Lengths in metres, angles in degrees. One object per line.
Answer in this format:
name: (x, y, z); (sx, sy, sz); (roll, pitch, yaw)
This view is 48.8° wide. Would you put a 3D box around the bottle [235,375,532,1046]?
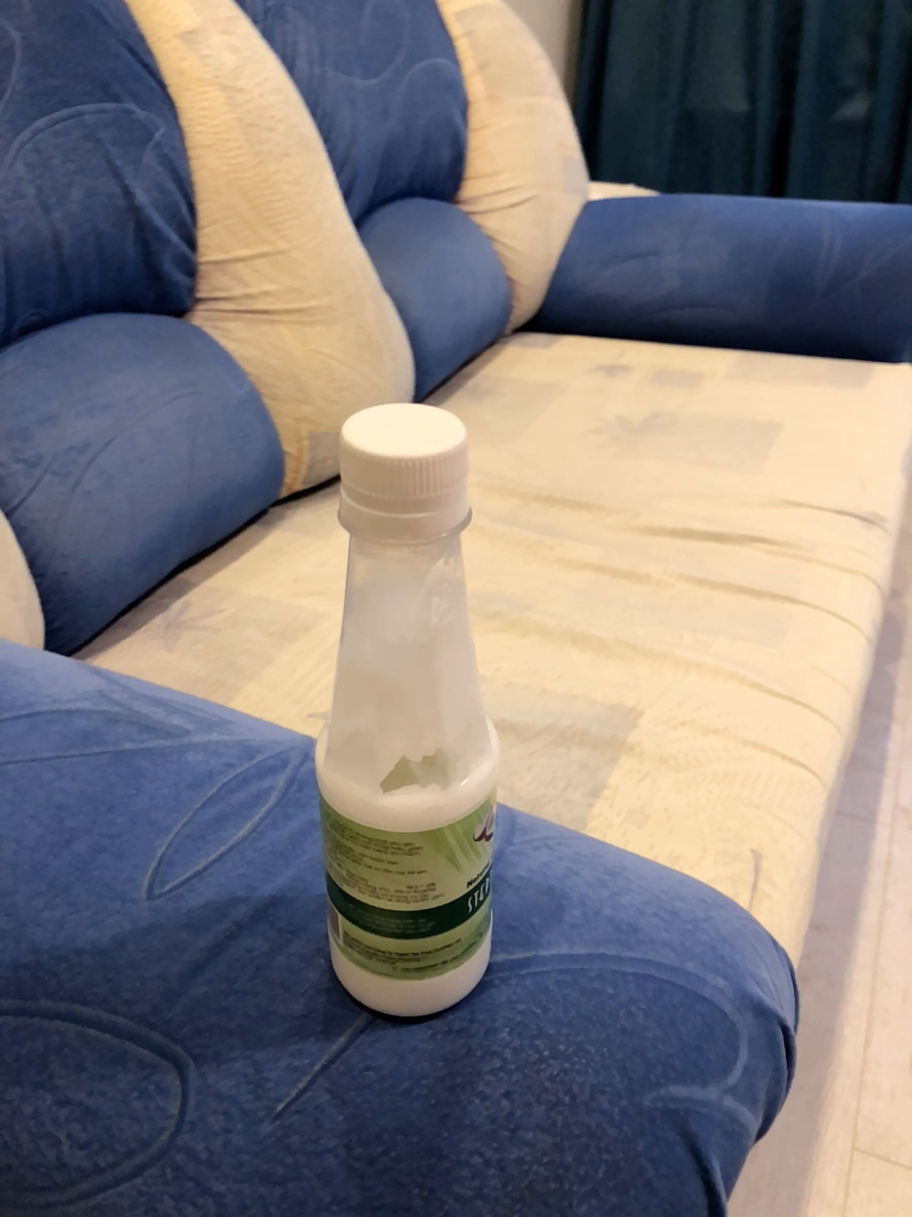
bottle: (-0.016, 0.035, 0.279); (0.054, 0.183, 0.051); (1, 32, 0)
